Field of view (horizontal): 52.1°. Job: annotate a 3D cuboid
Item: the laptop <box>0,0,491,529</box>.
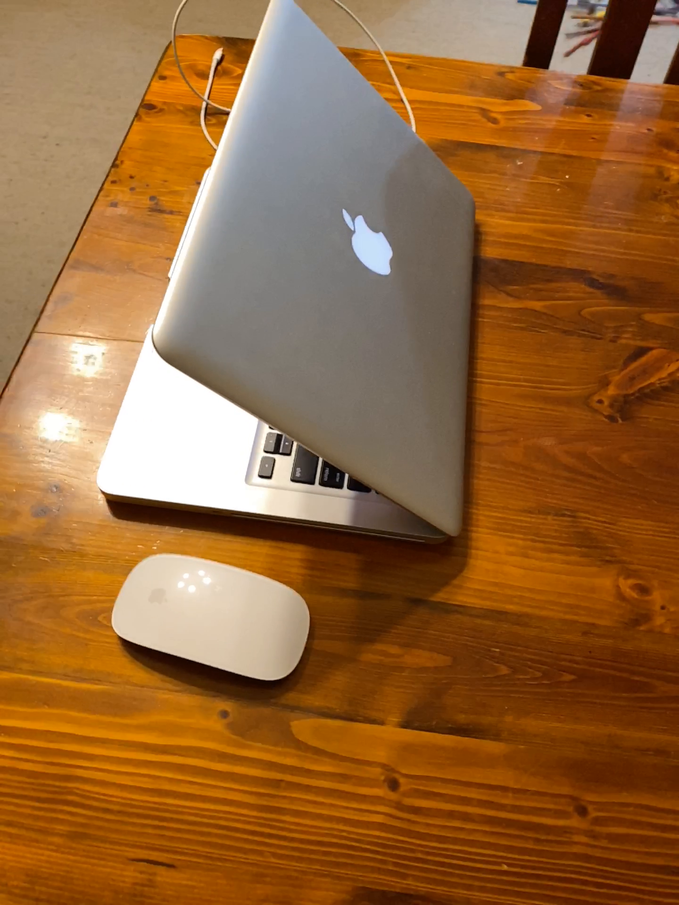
[{"bbox_3d":[-0.029,-0.135,0.438,0.211,0.136,0.312,7,59,3],"label":"laptop"}]
